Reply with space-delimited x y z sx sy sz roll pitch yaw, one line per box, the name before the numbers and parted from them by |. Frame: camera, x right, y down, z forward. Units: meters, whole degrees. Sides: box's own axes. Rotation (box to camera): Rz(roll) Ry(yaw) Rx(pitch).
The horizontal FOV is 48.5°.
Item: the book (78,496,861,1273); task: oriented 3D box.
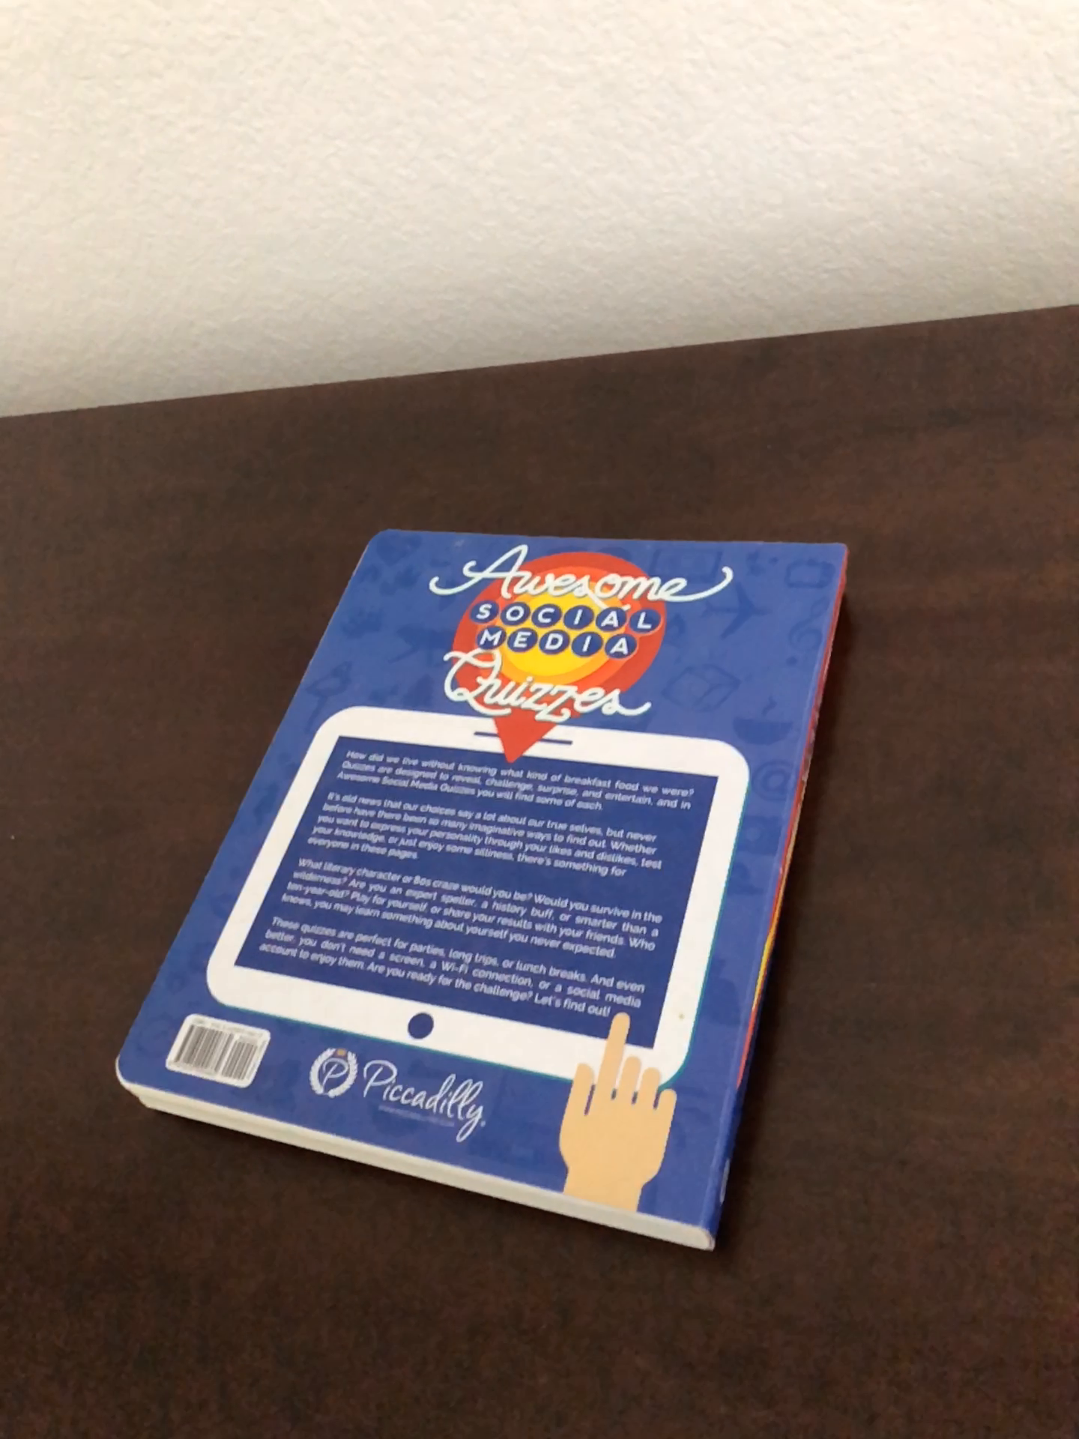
book | -0.009 0.025 0.352 0.173 0.030 0.215 5 57 21
